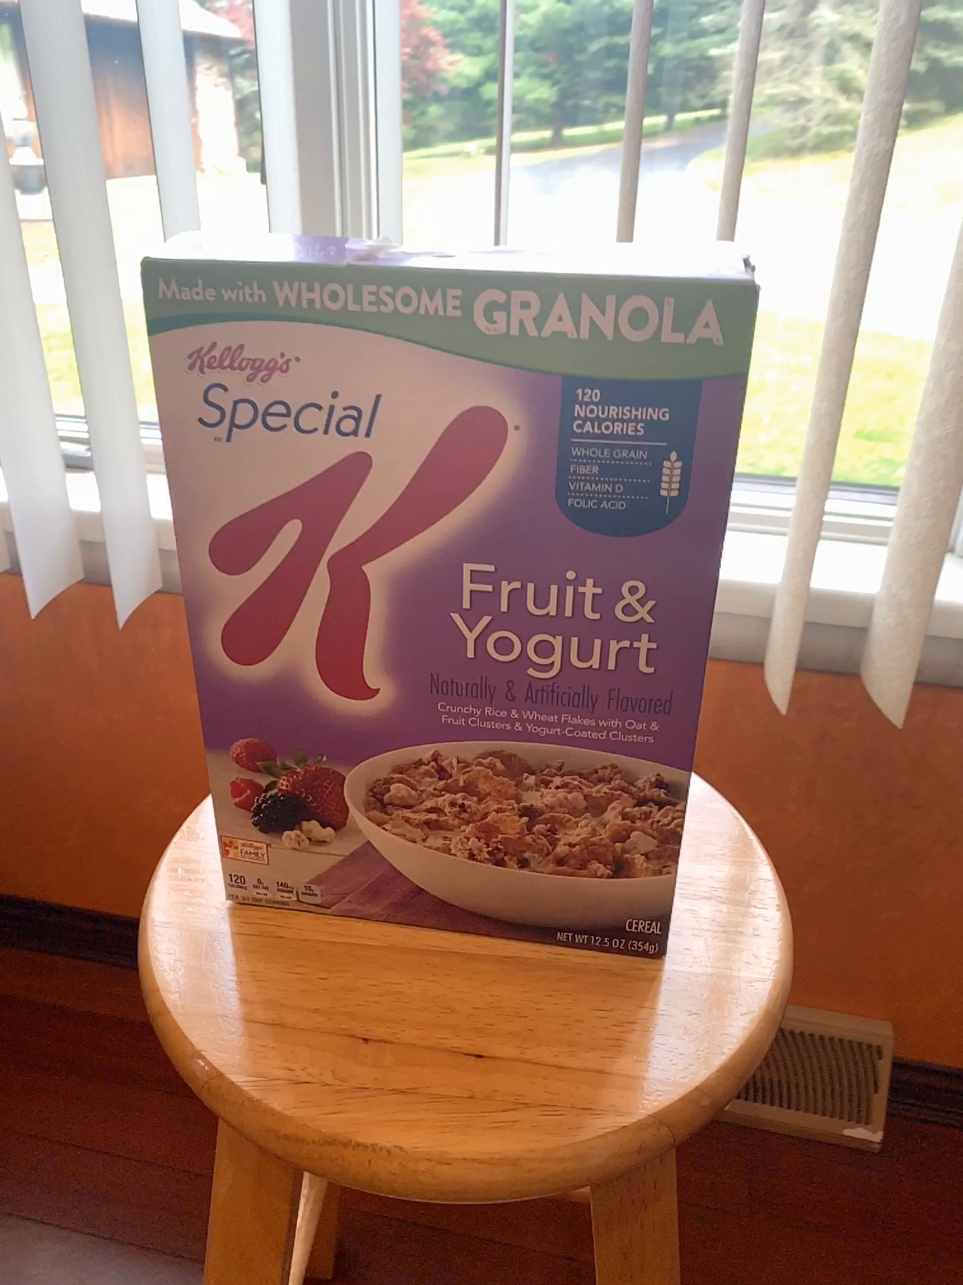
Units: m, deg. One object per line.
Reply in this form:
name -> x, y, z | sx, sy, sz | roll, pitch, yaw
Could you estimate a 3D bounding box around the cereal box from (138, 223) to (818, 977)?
cereal box -> -0.004, -0.010, 0.397 | 0.210, 0.279, 0.070 | 6, 28, 8
